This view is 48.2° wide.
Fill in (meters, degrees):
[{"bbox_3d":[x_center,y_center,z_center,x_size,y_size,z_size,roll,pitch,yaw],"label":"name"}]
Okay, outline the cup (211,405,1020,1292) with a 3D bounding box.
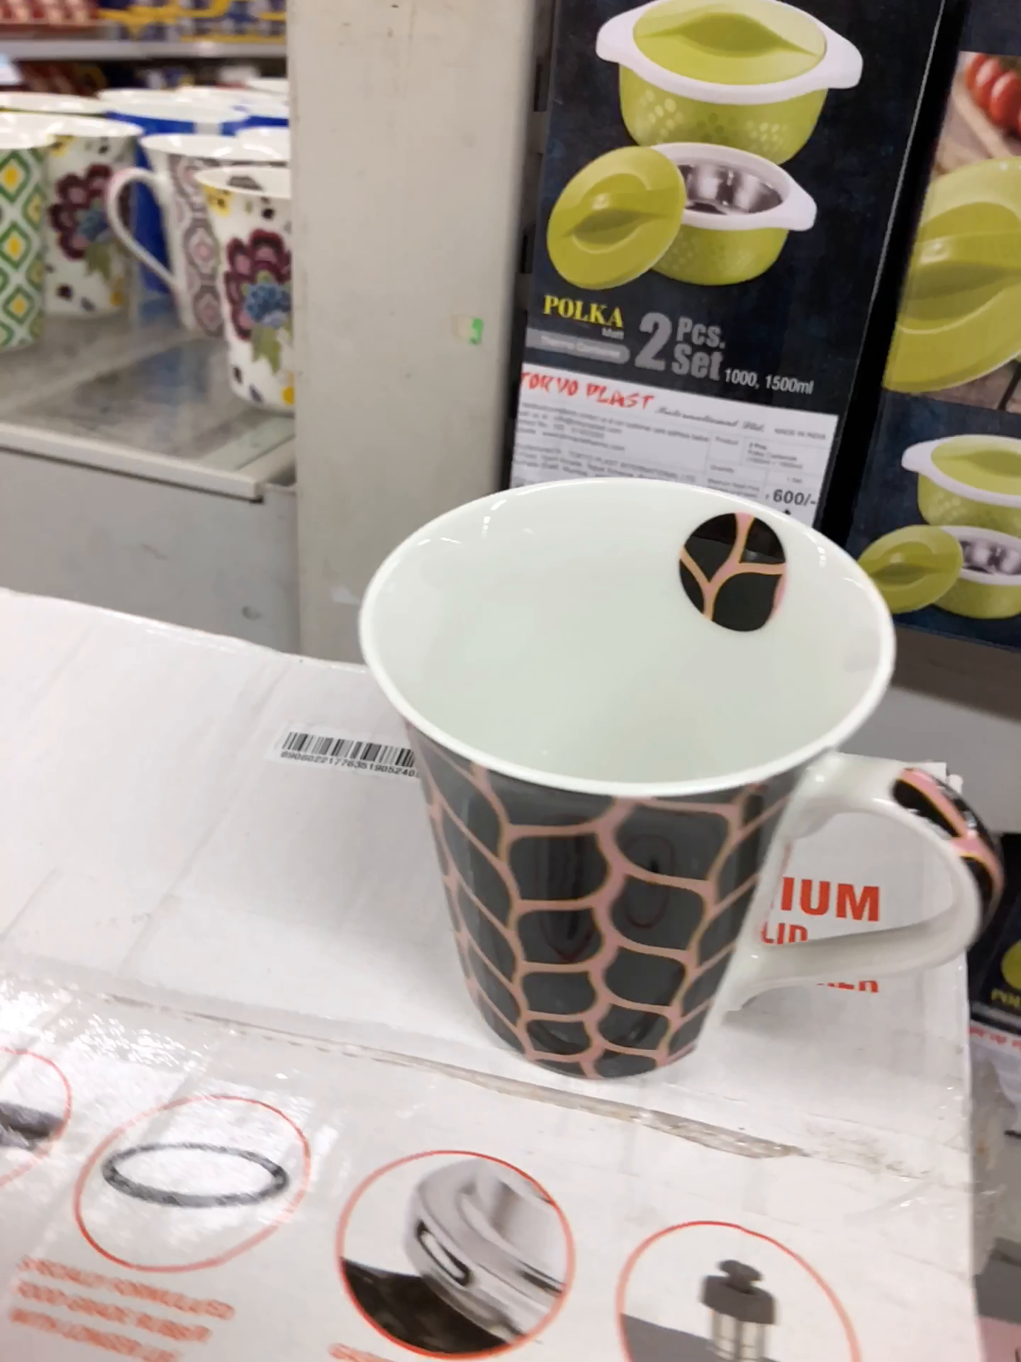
[{"bbox_3d":[0.027,0.017,0.198,0.110,0.079,0.091,20,40,25],"label":"cup"}]
